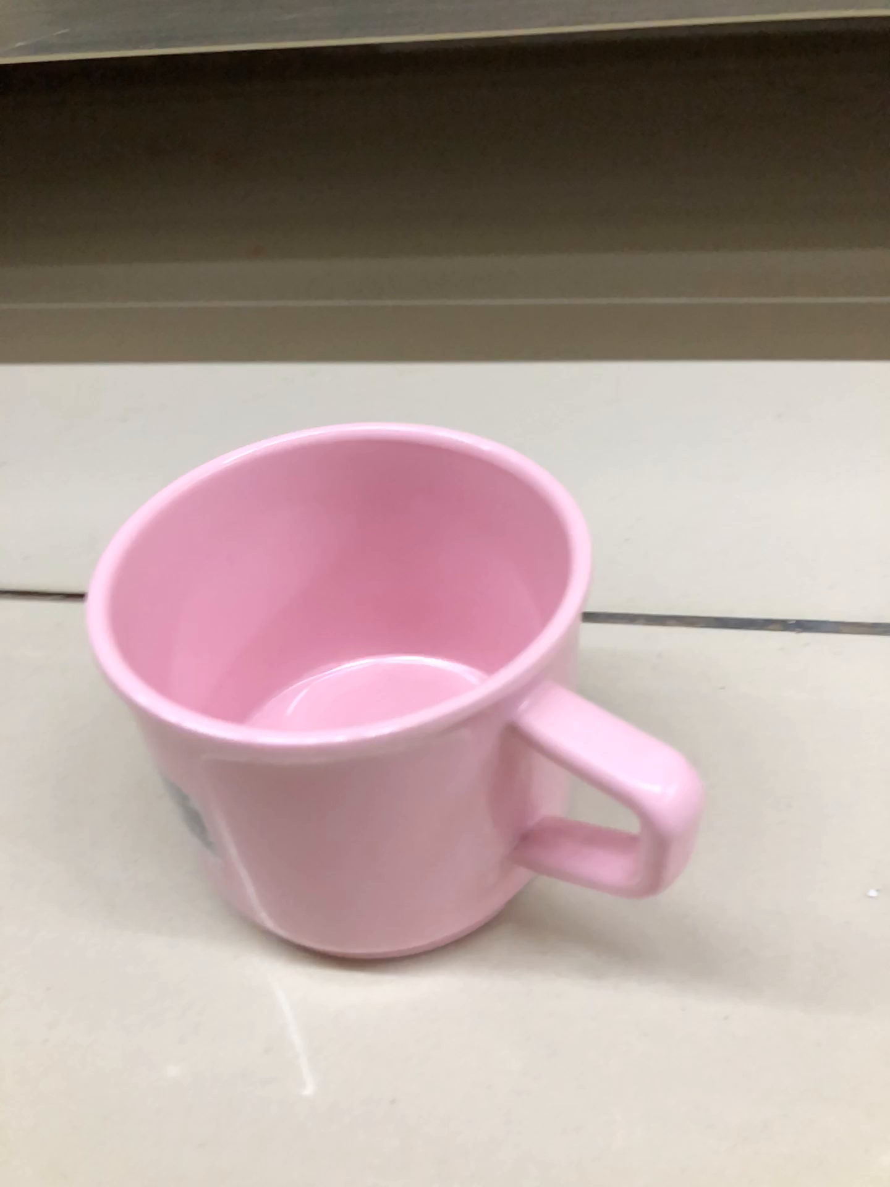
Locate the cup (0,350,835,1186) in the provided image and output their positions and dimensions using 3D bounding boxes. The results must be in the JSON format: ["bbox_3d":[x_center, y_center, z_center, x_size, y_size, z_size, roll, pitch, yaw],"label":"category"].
[{"bbox_3d":[-0.009,0.023,0.175,0.110,0.079,0.080,26,49,32],"label":"cup"}]
